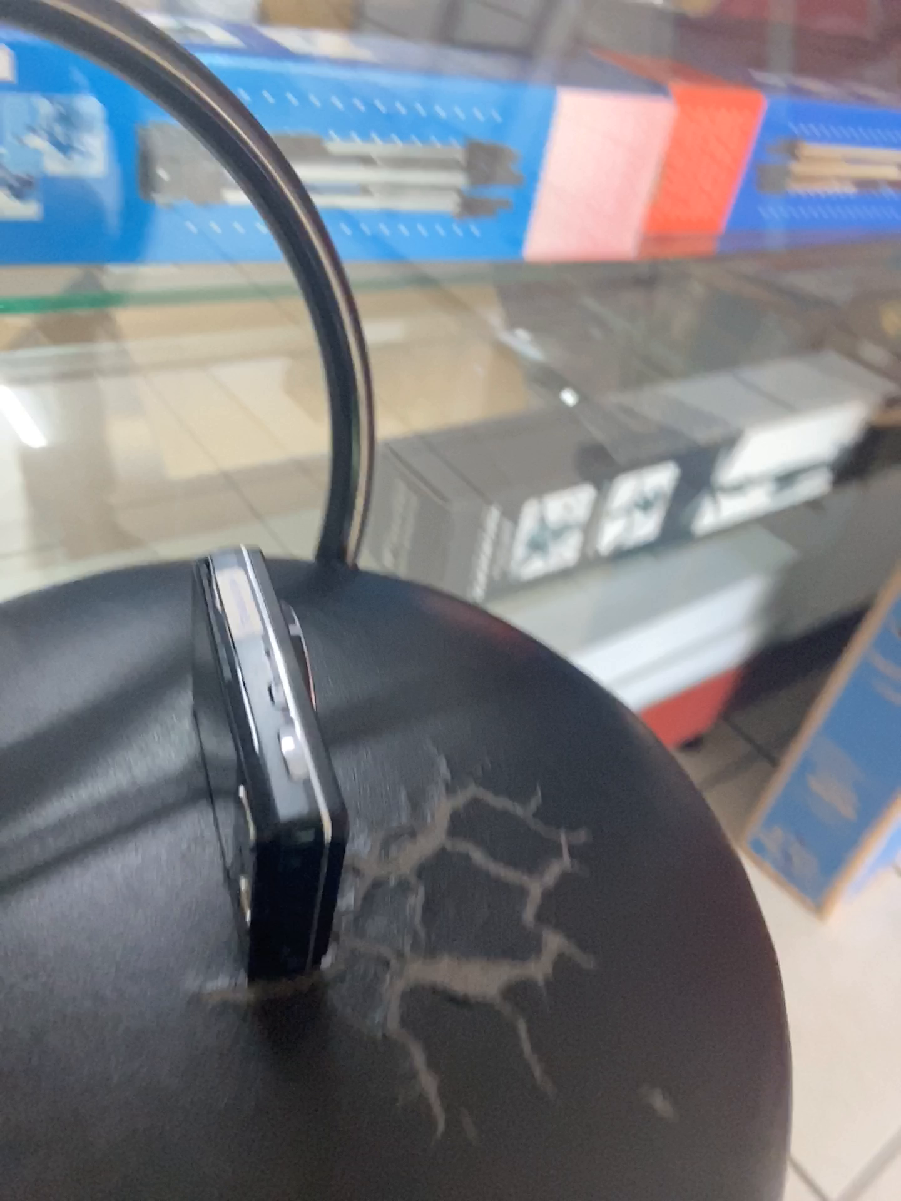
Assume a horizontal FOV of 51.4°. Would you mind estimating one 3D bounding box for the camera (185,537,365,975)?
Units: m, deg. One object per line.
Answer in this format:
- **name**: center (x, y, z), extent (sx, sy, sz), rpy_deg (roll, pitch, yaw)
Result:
- **camera**: center (-0.048, 0.034, 0.234), extent (0.024, 0.051, 0.097), rpy_deg (-4, 40, -21)
